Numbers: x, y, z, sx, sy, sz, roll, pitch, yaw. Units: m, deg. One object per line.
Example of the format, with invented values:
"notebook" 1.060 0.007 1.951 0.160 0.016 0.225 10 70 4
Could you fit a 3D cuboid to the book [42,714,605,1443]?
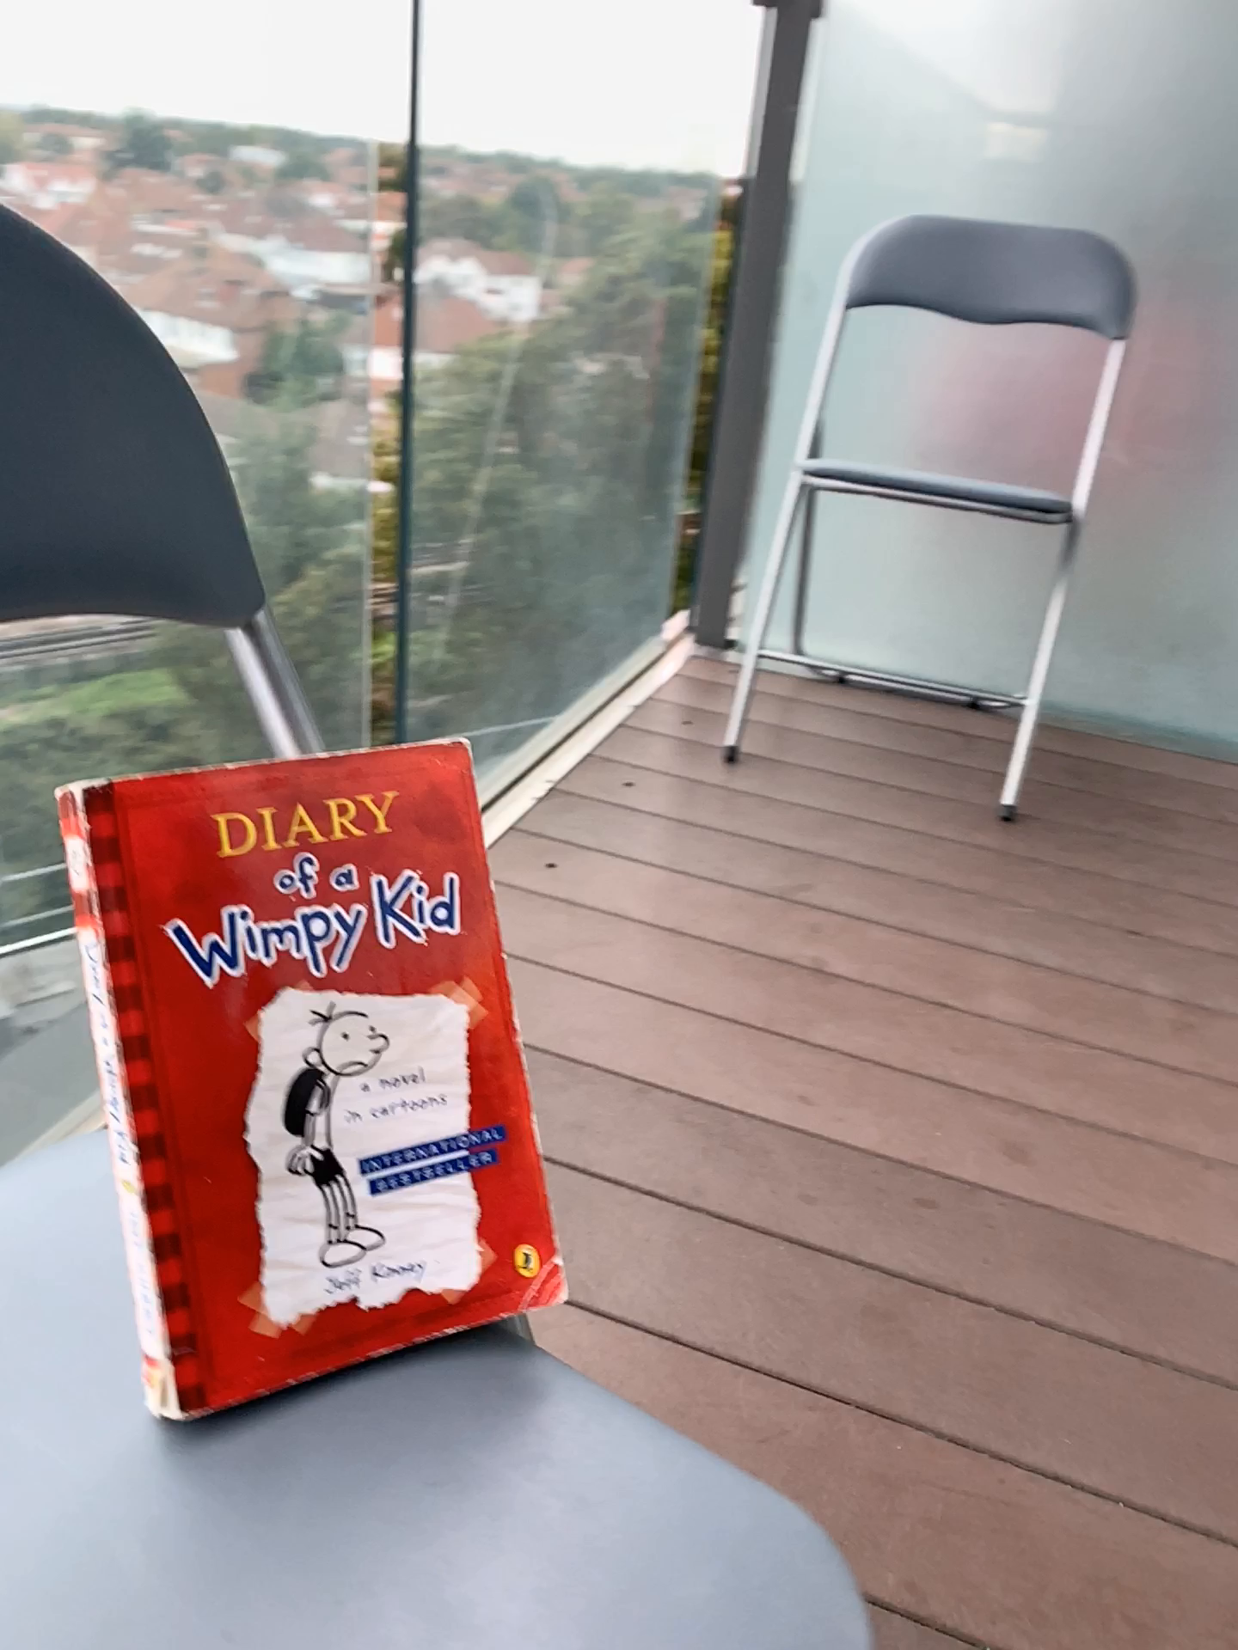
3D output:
"book" -0.096 0.072 0.423 0.150 0.200 0.040 -8 -3 -26
